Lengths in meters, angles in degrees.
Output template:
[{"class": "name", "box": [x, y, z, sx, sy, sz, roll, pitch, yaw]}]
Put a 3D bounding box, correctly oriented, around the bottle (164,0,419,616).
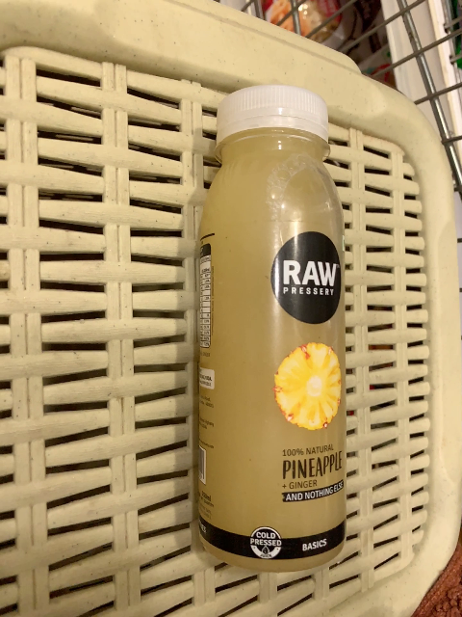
[{"class": "bottle", "box": [0.018, -0.002, 0.158, 0.060, 0.050, 0.160, 1, 85, -35]}]
